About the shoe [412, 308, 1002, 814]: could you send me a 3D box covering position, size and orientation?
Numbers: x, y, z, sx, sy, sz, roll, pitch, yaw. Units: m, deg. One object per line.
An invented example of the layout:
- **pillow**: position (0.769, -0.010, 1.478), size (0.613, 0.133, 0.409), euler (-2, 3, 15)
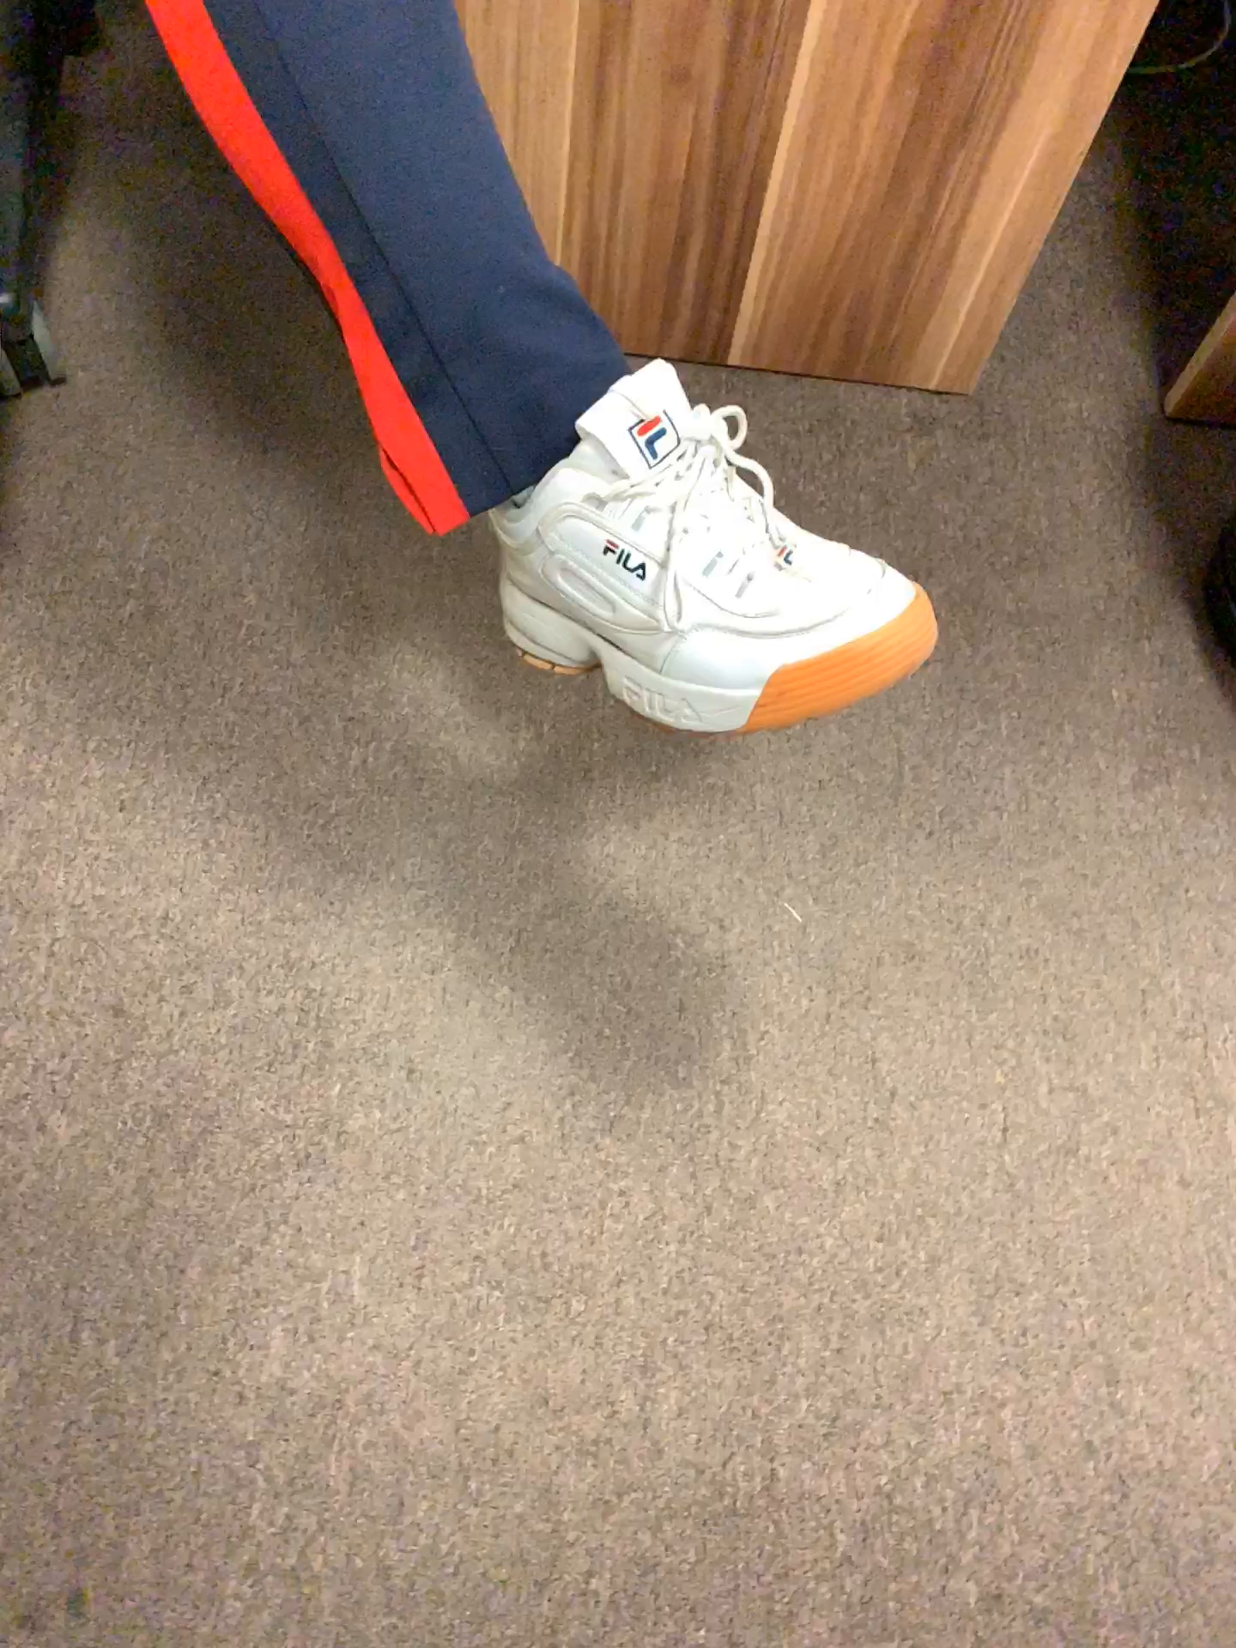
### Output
- **shoe**: position (0.038, -0.135, 0.600), size (0.230, 0.130, 0.130), euler (30, 54, 33)
